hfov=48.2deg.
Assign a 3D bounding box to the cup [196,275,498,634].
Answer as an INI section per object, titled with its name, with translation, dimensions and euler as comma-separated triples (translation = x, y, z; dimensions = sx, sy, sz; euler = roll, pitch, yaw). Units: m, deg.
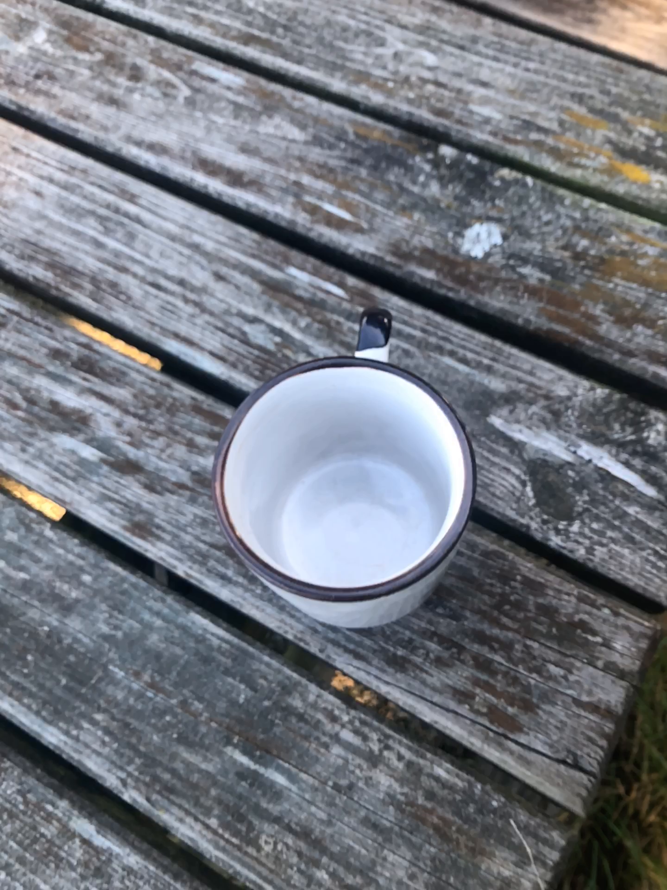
[cup]
translation = 0.011, 0.006, 0.282
dimensions = 0.086, 0.078, 0.108
euler = 5, 71, 9
